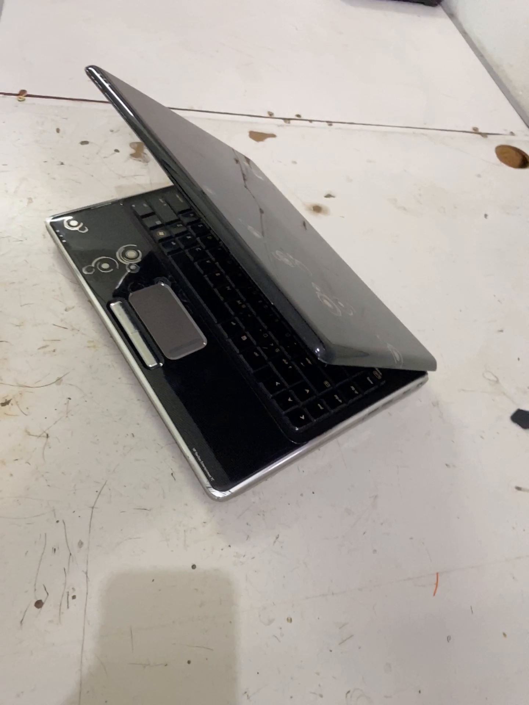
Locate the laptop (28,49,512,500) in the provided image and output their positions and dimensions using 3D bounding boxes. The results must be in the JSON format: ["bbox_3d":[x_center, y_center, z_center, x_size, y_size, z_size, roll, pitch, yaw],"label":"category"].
[{"bbox_3d":[-0.017,-0.093,0.469,0.231,0.137,0.328,-25,63,-25],"label":"laptop"}]
